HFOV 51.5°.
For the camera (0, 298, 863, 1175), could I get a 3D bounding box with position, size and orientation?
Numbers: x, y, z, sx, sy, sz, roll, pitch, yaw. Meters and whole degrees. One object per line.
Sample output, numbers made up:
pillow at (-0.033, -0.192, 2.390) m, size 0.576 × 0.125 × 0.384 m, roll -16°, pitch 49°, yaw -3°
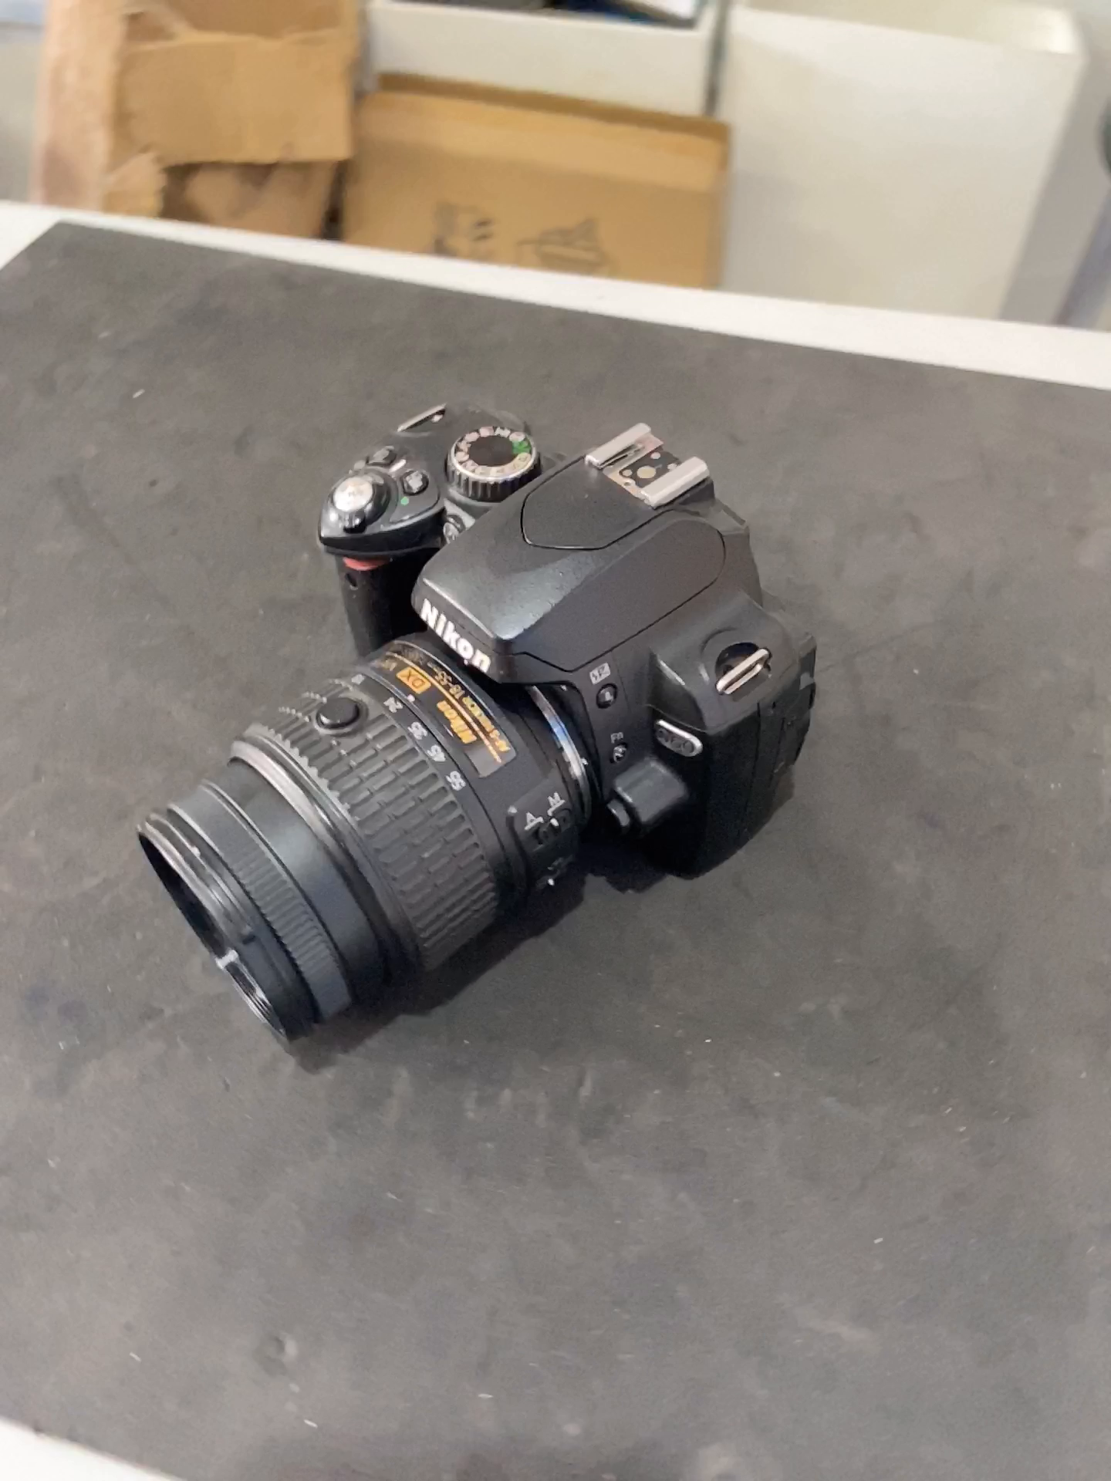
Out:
camera at (-0.032, -0.011, 0.268) m, size 0.140 × 0.088 × 0.129 m, roll -37°, pitch 59°, yaw -25°
